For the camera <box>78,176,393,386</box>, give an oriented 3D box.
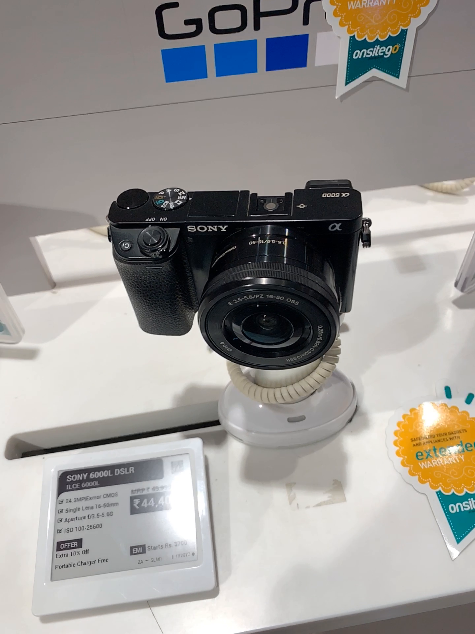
[{"bbox_3d":[0.001,-0.013,0.238,0.120,0.090,0.050,-1,49,3],"label":"camera"}]
